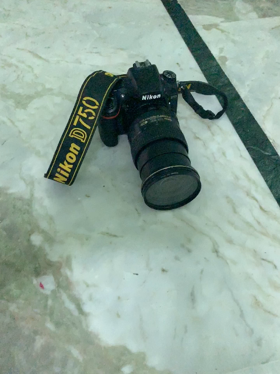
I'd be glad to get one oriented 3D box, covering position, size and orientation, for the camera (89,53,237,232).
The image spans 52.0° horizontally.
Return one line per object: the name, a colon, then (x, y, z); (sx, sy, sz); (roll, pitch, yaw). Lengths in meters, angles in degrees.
camera: (0.014, -0.075, 0.406); (0.139, 0.100, 0.233); (-9, 53, -5)
